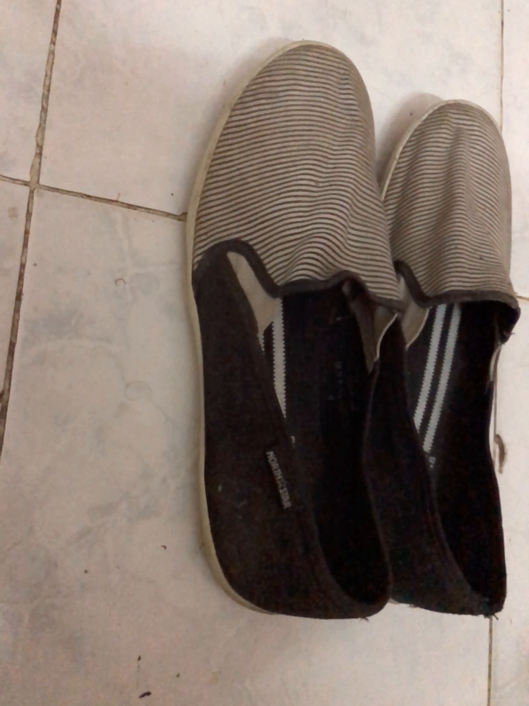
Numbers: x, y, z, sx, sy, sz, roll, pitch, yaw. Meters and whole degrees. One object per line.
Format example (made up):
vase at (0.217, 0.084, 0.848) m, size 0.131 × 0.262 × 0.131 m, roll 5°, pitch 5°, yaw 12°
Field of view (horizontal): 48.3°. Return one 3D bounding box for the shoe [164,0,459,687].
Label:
shoe at (0.023, -0.031, 0.303) m, size 0.110 × 0.090 × 0.330 m, roll 6°, pitch 81°, yaw -25°

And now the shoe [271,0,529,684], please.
shoe at (0.100, -0.016, 0.331) m, size 0.110 × 0.090 × 0.340 m, roll 15°, pitch 77°, yaw -24°
